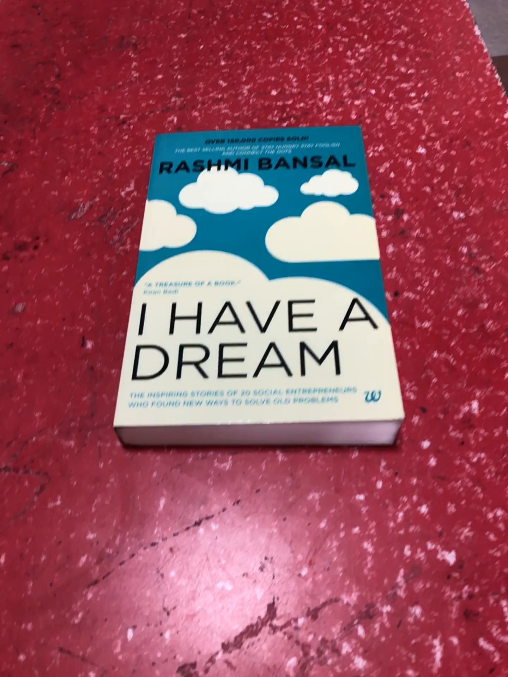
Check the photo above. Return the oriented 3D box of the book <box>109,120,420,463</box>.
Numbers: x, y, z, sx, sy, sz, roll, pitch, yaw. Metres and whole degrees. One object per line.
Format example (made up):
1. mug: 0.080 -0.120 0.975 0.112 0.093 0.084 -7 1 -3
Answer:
1. book: 0.004 -0.036 0.302 0.130 0.030 0.200 -2 58 3
